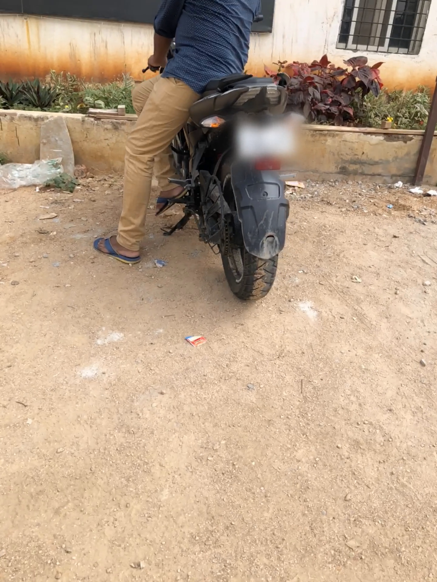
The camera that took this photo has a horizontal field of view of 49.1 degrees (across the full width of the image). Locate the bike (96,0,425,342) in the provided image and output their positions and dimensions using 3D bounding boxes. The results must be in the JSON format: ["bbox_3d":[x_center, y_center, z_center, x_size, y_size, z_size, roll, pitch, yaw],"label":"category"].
[{"bbox_3d":[-0.071,-0.818,2.352,0.780,1.122,1.856,-5,31,-18],"label":"bike"}]
